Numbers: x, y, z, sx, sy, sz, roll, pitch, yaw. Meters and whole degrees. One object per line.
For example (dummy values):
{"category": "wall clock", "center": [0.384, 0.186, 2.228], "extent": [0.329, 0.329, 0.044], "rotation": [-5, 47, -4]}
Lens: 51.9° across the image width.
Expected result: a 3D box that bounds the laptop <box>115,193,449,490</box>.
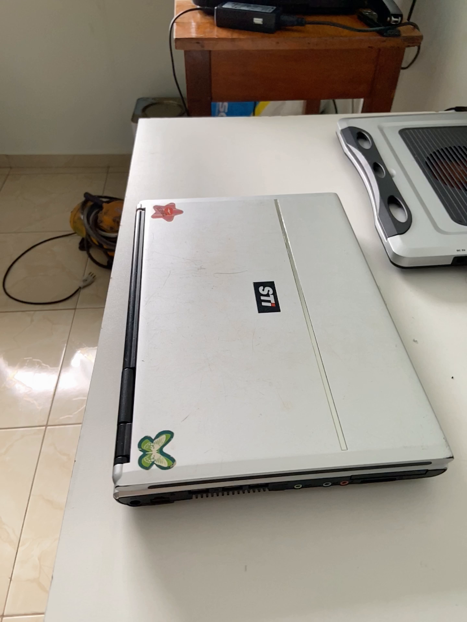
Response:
{"category": "laptop", "center": [0.024, -0.010, 0.451], "extent": [0.234, 0.004, 0.340], "rotation": [-3, 46, -4]}
